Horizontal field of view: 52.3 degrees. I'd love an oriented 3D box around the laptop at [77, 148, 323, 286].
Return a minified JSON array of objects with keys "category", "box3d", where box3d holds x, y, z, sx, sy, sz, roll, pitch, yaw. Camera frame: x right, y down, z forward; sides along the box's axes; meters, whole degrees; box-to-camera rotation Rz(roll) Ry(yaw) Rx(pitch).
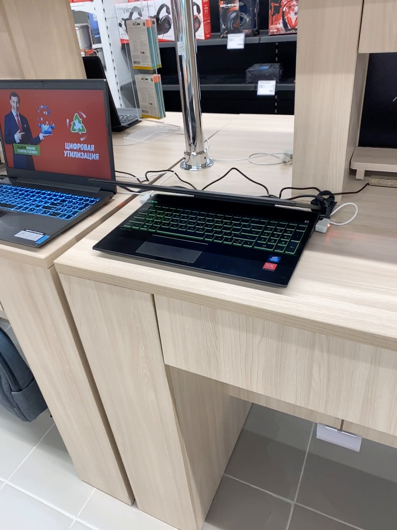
[{"category":"laptop","box3d":[0.010,-0.109,0.727,0.365,0.108,0.235,11,37,24]}]
